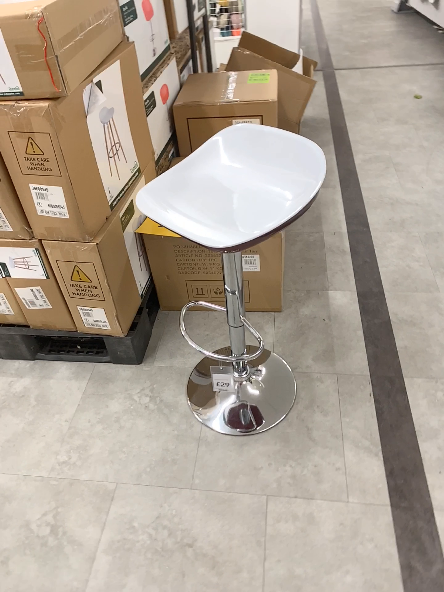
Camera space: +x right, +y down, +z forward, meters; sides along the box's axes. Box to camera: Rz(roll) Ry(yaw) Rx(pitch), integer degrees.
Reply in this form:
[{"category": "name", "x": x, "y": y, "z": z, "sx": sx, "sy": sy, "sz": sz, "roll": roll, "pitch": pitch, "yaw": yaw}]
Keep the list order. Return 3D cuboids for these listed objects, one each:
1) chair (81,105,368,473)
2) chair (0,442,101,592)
[{"category": "chair", "x": 0.040, "y": -0.012, "z": 1.254, "sx": 0.445, "sy": 0.797, "sz": 0.454, "roll": 27, "pitch": 51, "yaw": 33}, {"category": "chair", "x": -0.668, "y": 0.744, "z": 0.496, "sx": 0.645, "sy": 0.926, "sz": 0.526, "roll": 14, "pitch": 45, "yaw": 22}]
